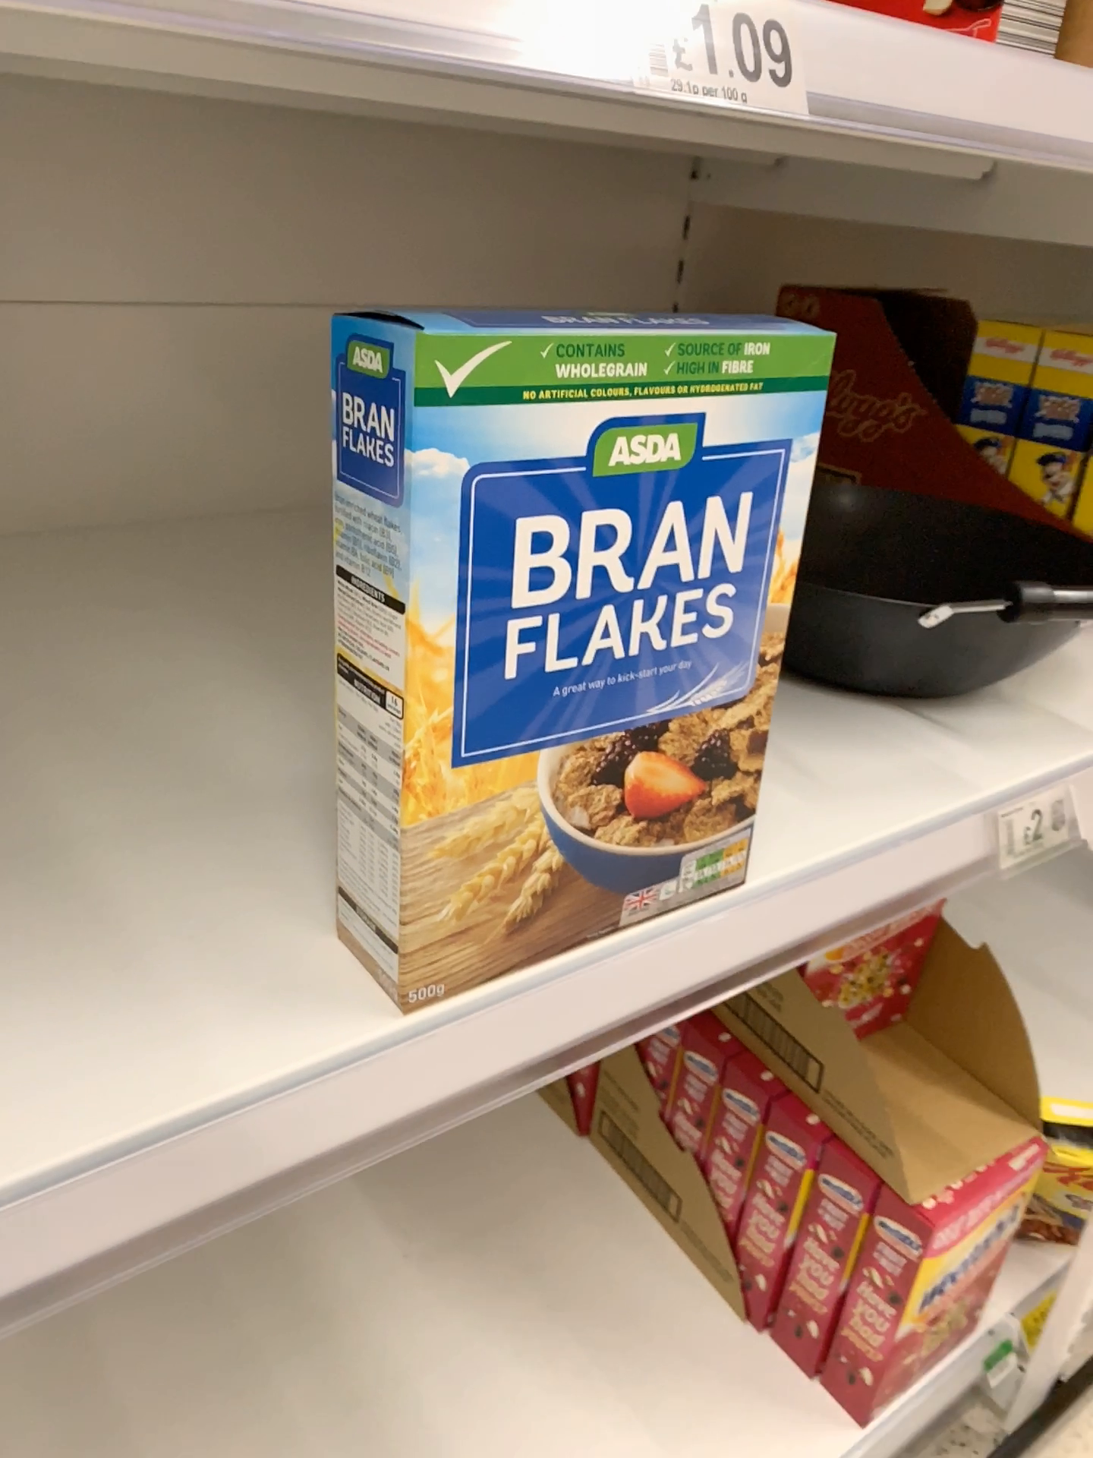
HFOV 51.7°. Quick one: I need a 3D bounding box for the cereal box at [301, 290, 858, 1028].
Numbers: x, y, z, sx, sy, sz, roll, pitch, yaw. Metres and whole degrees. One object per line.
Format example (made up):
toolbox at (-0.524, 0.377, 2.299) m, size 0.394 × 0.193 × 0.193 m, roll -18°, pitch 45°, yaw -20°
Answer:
cereal box at (0.013, -0.041, 0.502) m, size 0.221 × 0.278 × 0.080 m, roll -13°, pitch 28°, yaw -35°
